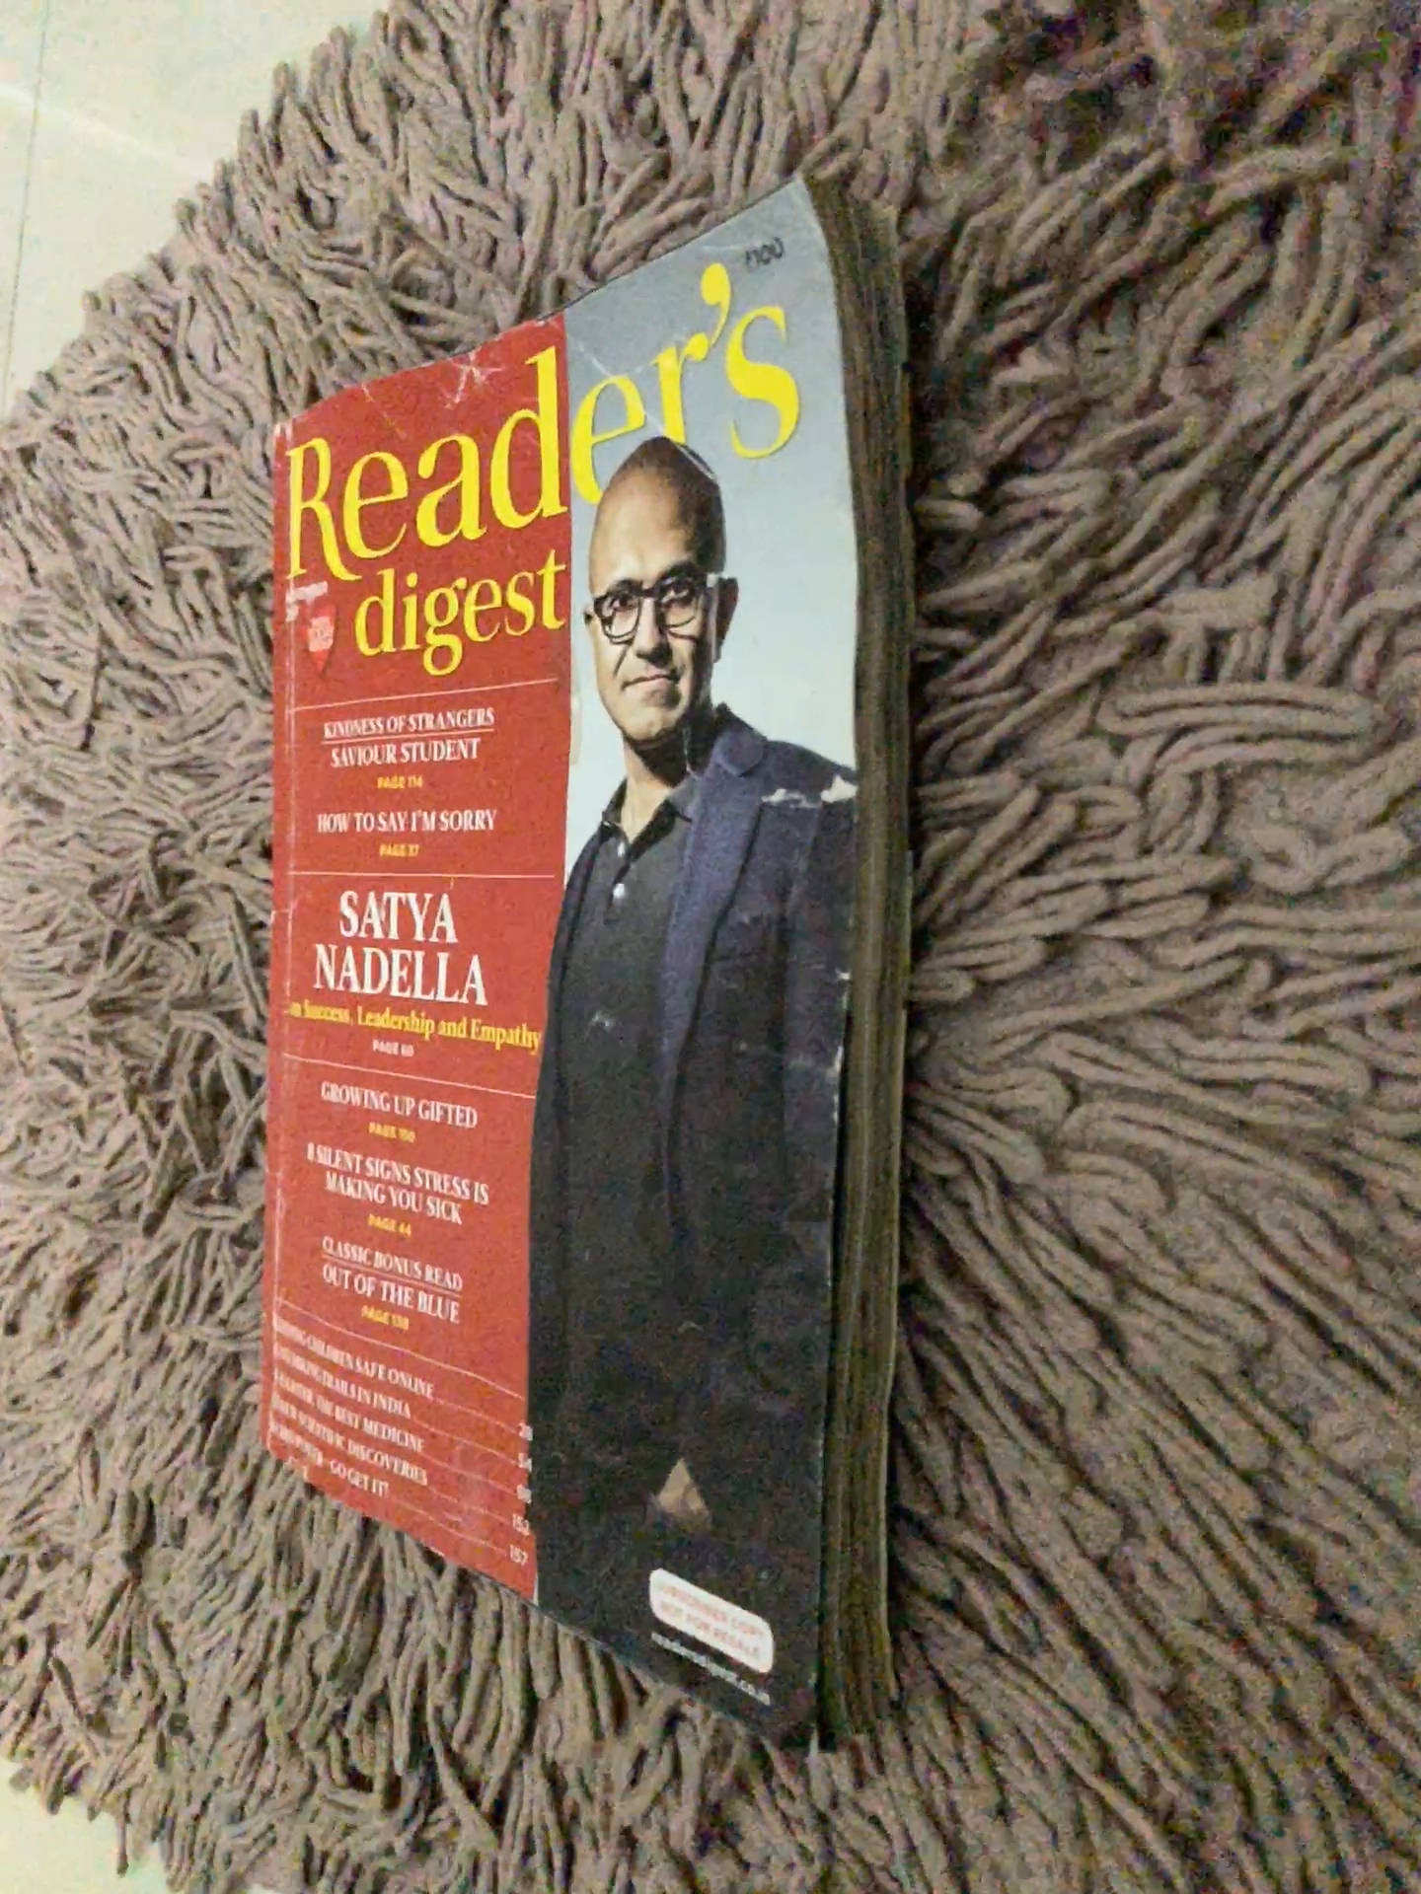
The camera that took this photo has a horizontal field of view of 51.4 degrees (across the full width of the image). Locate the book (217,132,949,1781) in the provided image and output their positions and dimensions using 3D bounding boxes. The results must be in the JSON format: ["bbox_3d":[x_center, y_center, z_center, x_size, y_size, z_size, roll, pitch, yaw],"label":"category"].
[{"bbox_3d":[-0.028,0.000,0.213,0.131,0.020,0.180,2,91,43],"label":"book"}]
